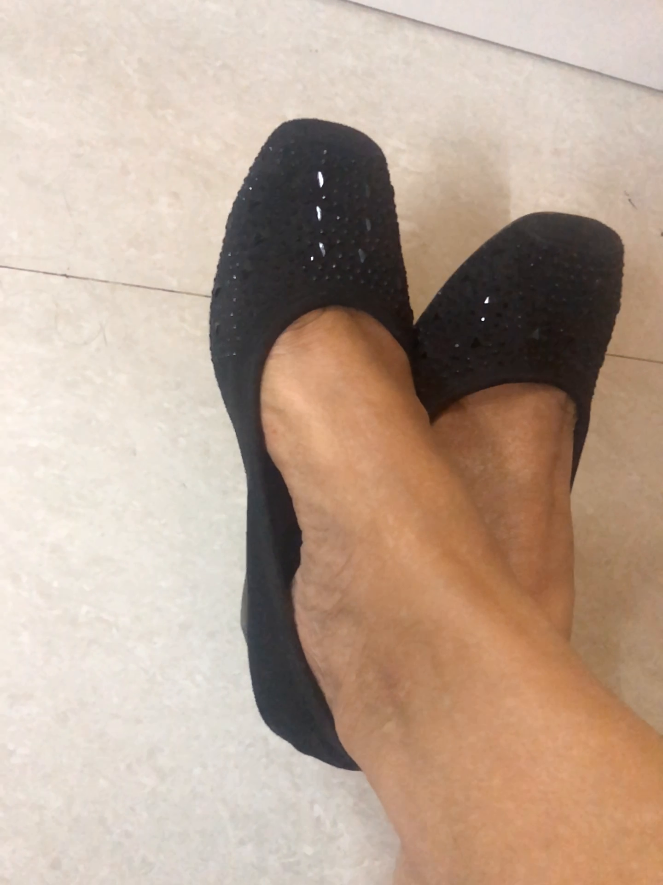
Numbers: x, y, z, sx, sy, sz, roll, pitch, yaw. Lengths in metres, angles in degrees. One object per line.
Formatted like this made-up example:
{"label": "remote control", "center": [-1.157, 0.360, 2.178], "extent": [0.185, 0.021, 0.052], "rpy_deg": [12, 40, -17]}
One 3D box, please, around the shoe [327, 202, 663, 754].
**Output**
{"label": "shoe", "center": [0.076, 0.024, 0.343], "extent": [0.100, 0.070, 0.240], "rpy_deg": [5, 112, -17]}

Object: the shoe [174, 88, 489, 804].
{"label": "shoe", "center": [-0.005, 0.005, 0.318], "extent": [0.100, 0.070, 0.270], "rpy_deg": [-6, 108, -26]}
